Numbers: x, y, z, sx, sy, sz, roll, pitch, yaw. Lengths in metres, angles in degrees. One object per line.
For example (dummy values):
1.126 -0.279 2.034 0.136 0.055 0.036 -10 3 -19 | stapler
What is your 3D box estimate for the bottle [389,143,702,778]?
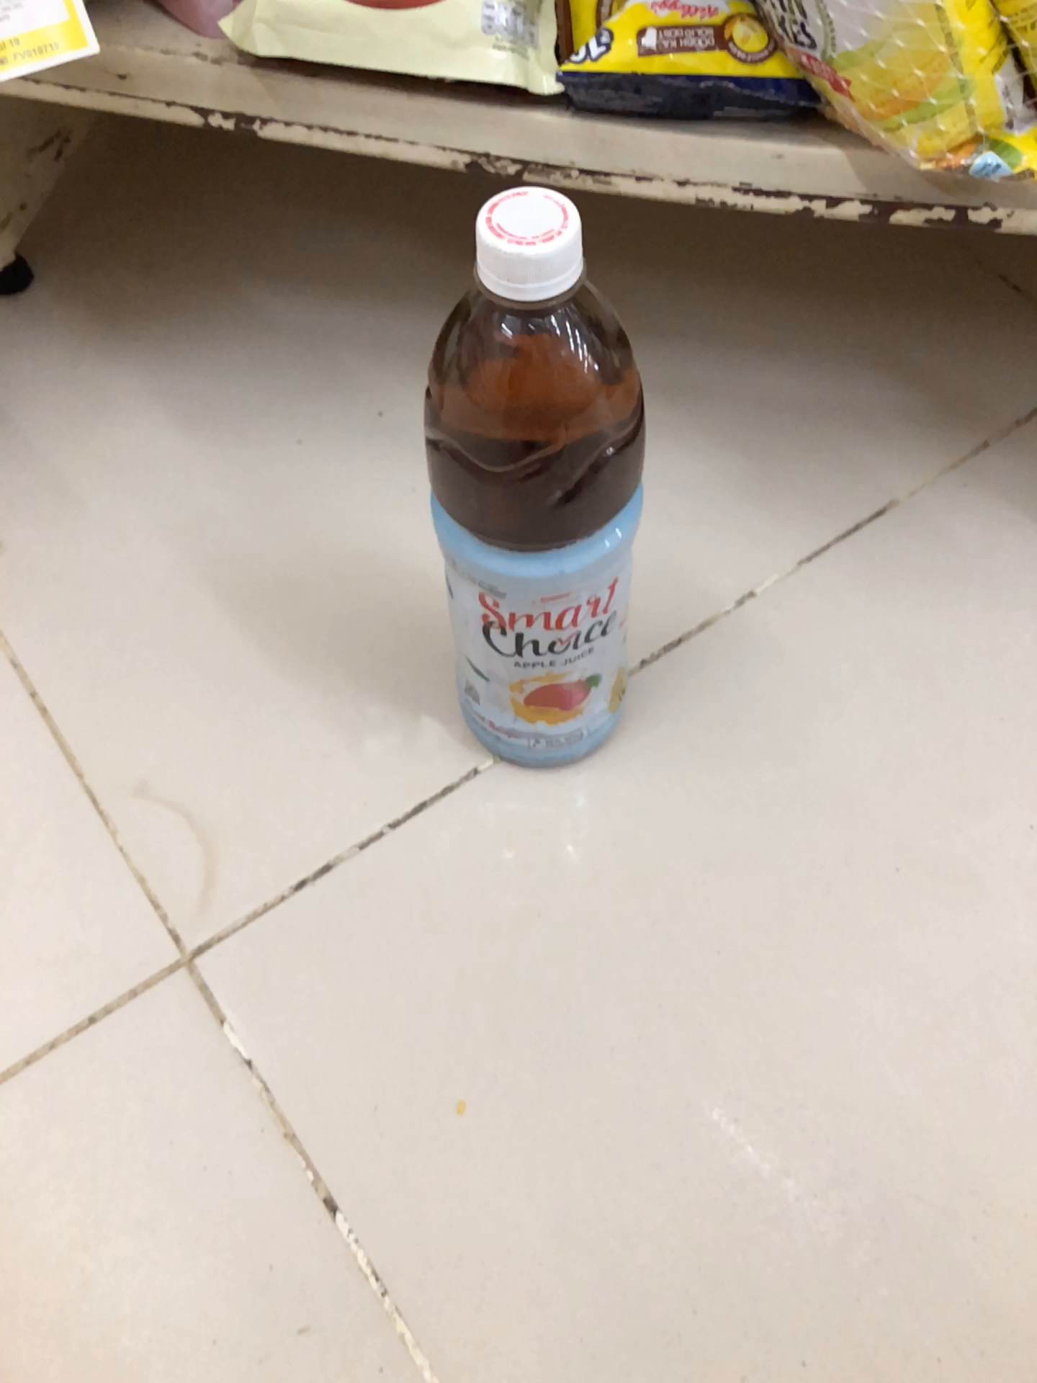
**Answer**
0.008 -0.061 0.425 0.080 0.249 0.080 -1 60 1 | bottle
